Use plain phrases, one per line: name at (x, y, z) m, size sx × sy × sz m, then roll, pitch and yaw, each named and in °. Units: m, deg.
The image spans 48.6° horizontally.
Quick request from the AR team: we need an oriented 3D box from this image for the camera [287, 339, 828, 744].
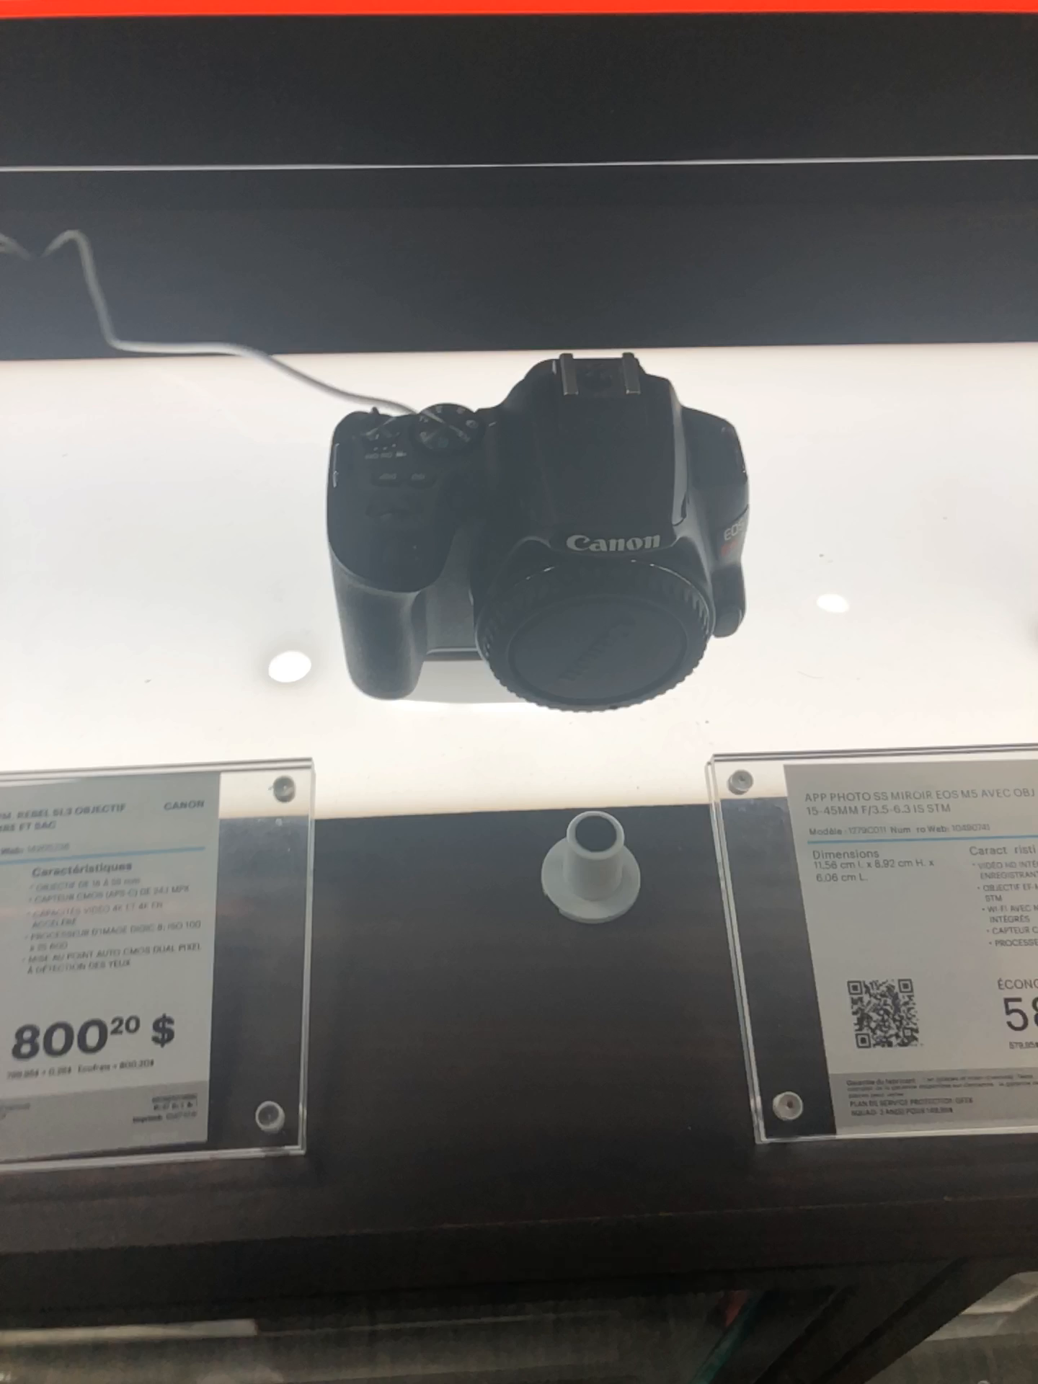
camera at (0.007, -0.041, 0.314) m, size 0.123 × 0.071 × 0.081 m, roll -2°, pitch 50°, yaw -3°
